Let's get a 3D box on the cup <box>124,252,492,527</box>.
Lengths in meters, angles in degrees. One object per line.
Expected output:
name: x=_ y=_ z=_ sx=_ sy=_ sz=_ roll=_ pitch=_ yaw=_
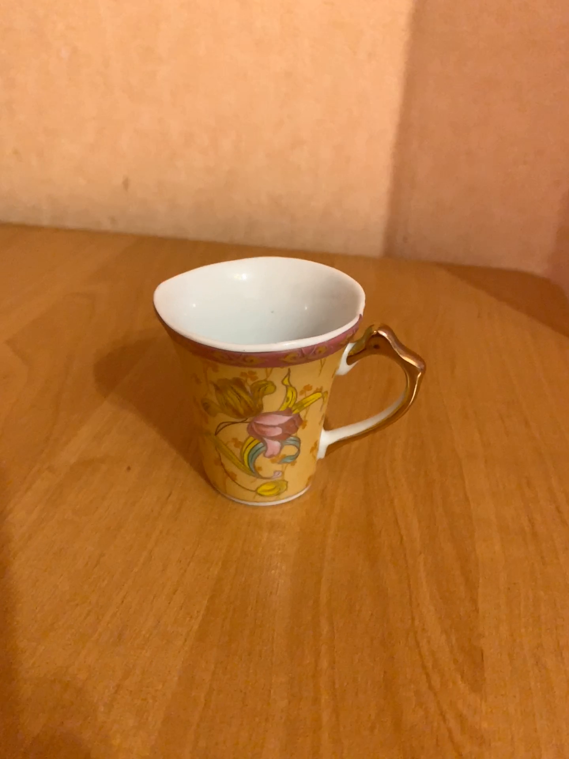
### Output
cup: x=0.005 y=0.000 z=0.200 sx=0.094 sy=0.061 sz=0.072 roll=1 pitch=30 yaw=-1
